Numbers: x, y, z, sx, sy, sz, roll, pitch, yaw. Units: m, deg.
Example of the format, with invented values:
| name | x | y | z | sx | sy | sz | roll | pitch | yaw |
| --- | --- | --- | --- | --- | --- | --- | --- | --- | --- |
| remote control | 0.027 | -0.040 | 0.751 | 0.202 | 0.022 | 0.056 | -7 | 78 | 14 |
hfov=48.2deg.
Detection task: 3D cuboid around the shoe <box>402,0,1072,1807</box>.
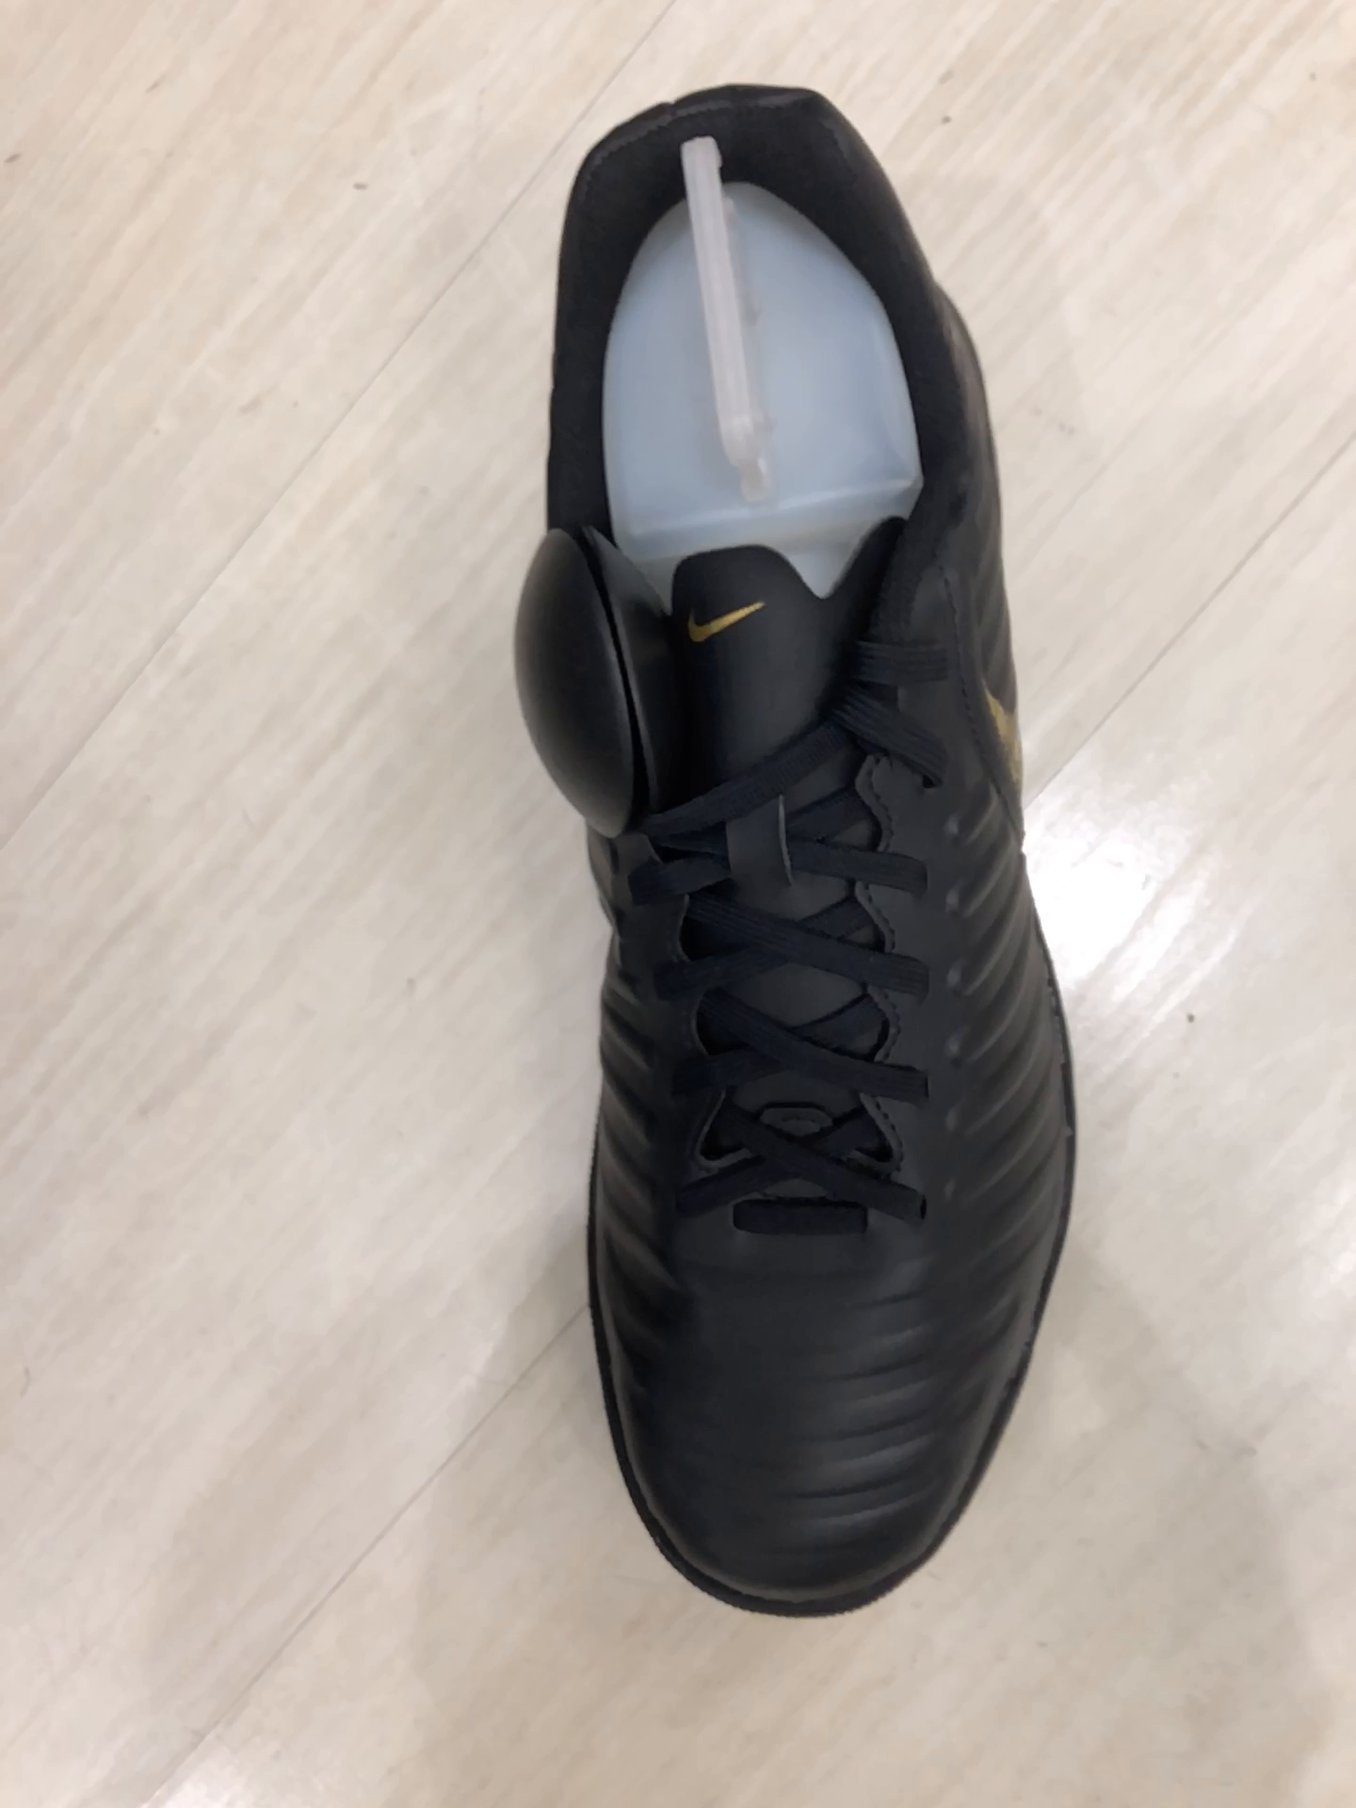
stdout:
| name | x | y | z | sx | sy | sz | roll | pitch | yaw |
| --- | --- | --- | --- | --- | --- | --- | --- | --- | --- |
| shoe | 0.018 | -0.002 | 0.286 | 0.100 | 0.110 | 0.290 | -2 | 86 | 14 |
